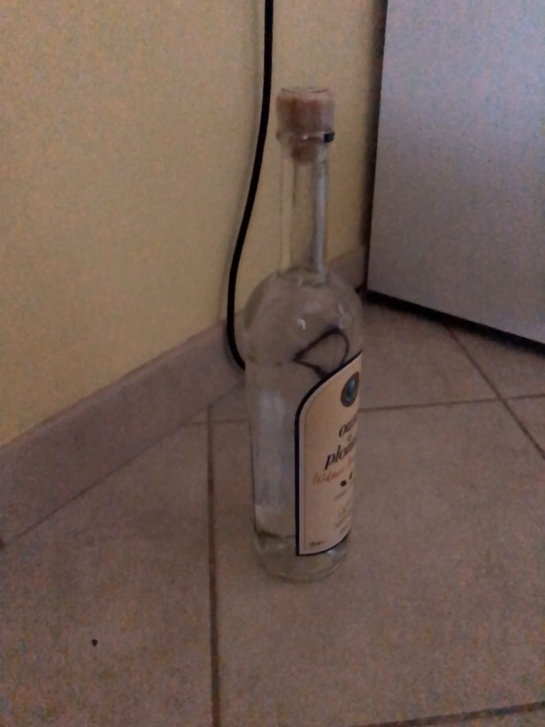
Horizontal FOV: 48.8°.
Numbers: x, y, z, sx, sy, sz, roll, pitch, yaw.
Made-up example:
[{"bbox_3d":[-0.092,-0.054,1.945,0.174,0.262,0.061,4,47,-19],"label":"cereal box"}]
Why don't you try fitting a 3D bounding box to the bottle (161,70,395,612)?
[{"bbox_3d":[0.006,0.002,0.369,0.080,0.318,0.081,-1,32,0],"label":"bottle"}]
